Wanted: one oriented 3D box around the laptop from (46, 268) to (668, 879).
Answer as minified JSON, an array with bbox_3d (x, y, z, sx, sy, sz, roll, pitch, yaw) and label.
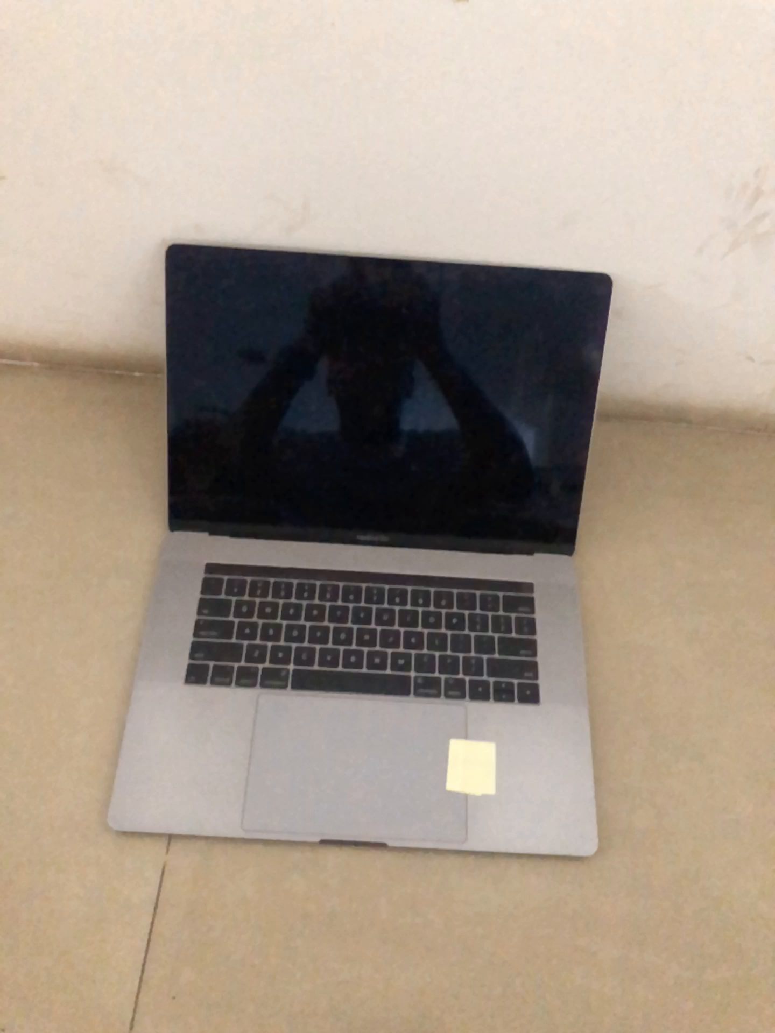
[{"bbox_3d":[-0.011,0.034,0.615,0.329,0.163,0.381,4,60,-1],"label":"laptop"}]
